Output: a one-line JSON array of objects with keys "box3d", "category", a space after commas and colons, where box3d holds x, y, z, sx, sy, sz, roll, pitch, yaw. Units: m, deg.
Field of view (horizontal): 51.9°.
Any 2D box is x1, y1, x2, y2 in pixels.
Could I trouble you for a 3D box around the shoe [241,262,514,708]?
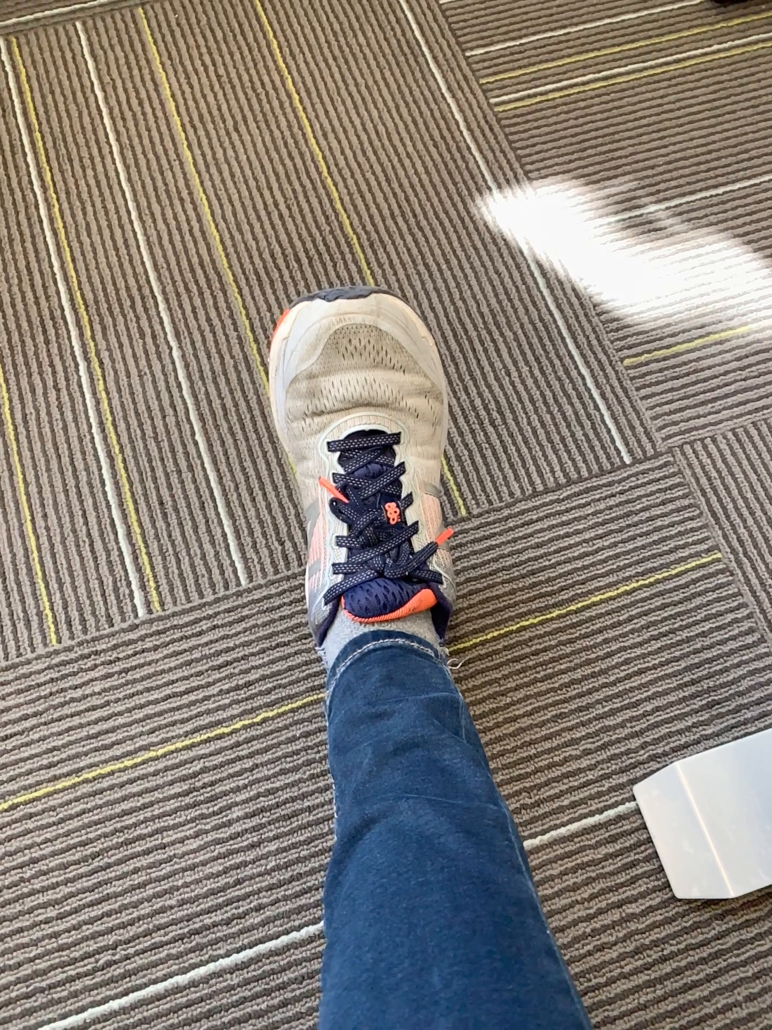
[{"box3d": [-0.004, -0.024, 0.471, 0.120, 0.110, 0.230, -8, 108, -4], "category": "shoe"}]
